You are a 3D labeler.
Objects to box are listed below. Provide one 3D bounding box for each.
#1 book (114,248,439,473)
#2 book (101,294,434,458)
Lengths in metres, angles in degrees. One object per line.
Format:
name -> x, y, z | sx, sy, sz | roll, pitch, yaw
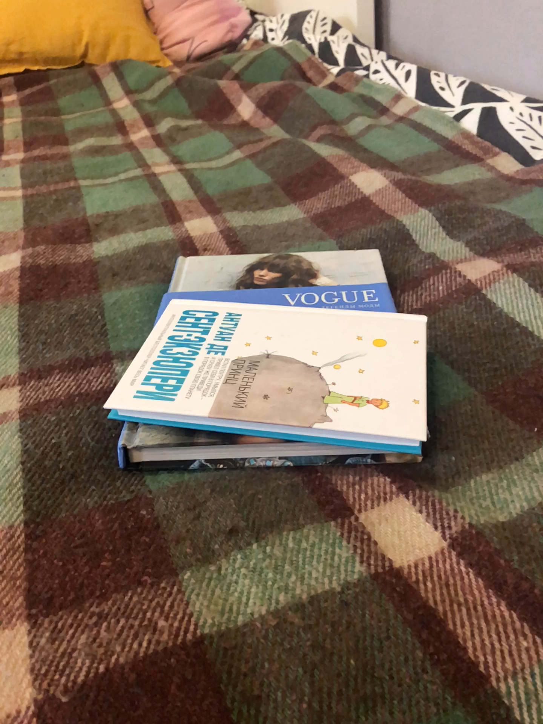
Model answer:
book -> 0.004, -0.018, 0.428 | 0.174, 0.023, 0.241 | -1, 35, 2
book -> 0.005, 0.000, 0.353 | 0.170, 0.014, 0.120 | 5, 35, 10
